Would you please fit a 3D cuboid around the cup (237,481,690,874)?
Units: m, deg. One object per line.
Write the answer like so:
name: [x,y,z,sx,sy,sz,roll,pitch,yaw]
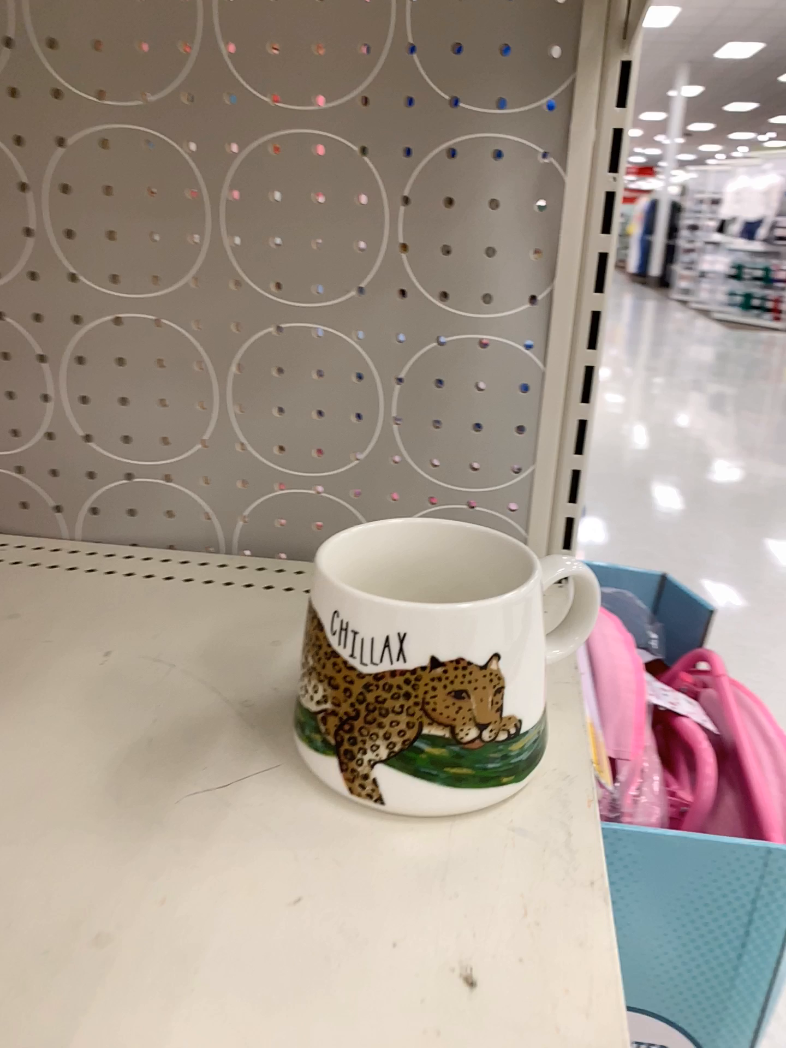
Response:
cup: [0.021,0.048,0.332,0.140,0.090,0.110,-8,23,-24]
